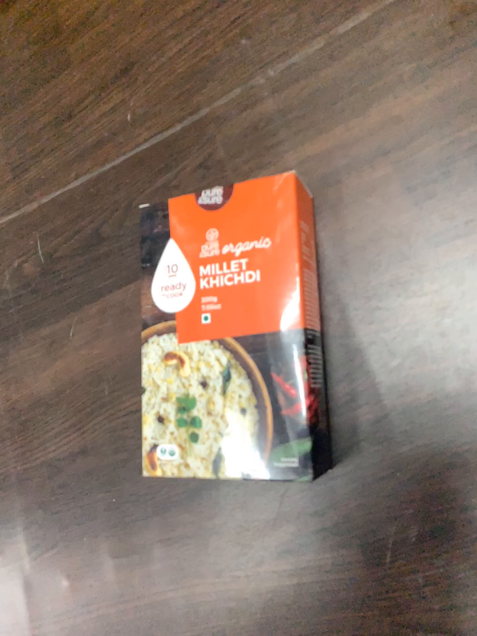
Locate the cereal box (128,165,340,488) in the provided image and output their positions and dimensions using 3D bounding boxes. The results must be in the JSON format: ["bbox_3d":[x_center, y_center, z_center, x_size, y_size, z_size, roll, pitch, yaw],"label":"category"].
[{"bbox_3d":[-0.006,0.008,0.278,0.110,0.040,0.160,-6,80,25],"label":"cereal box"}]
